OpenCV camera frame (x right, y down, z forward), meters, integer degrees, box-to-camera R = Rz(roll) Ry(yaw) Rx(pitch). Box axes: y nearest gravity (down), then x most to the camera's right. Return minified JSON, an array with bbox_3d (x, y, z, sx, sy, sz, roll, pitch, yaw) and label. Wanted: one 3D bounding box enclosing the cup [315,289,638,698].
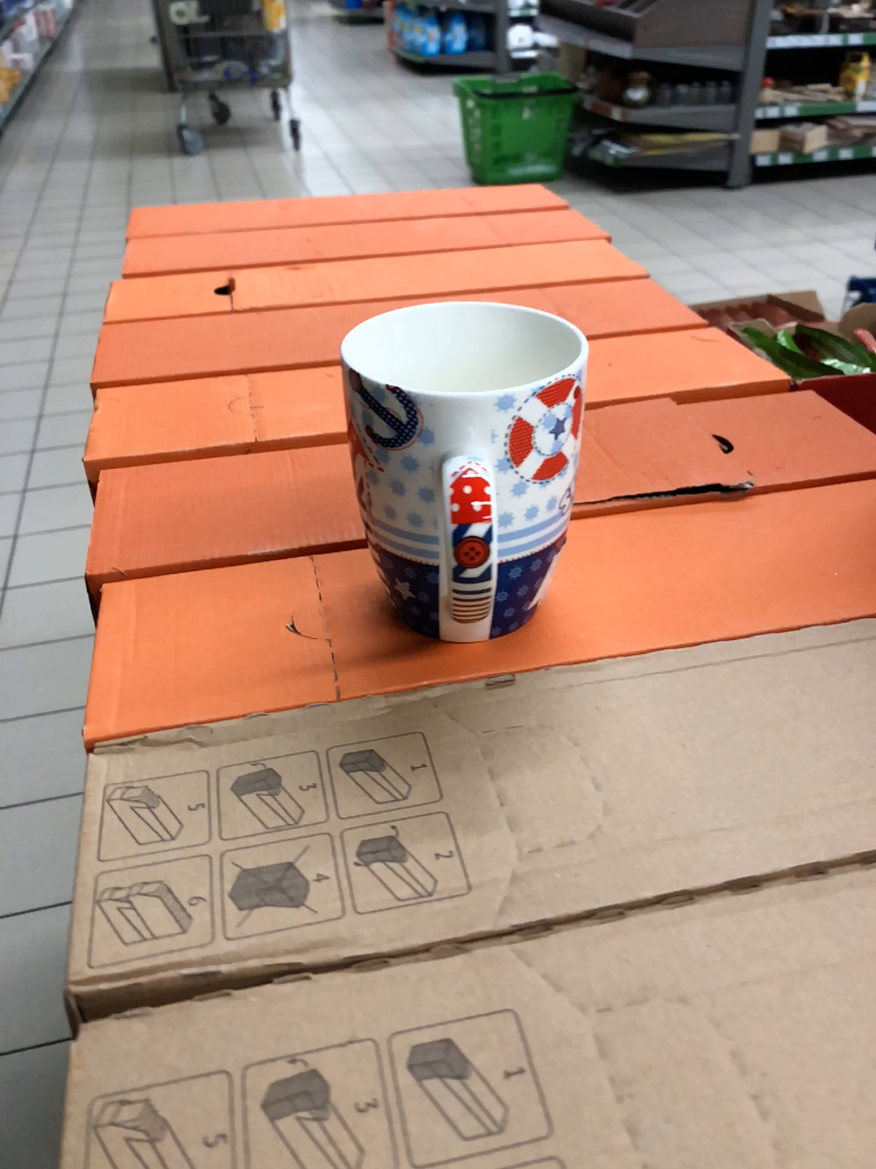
[{"bbox_3d":[0.011,-0.035,0.328,0.086,0.092,0.113,-2,35,1],"label":"cup"}]
